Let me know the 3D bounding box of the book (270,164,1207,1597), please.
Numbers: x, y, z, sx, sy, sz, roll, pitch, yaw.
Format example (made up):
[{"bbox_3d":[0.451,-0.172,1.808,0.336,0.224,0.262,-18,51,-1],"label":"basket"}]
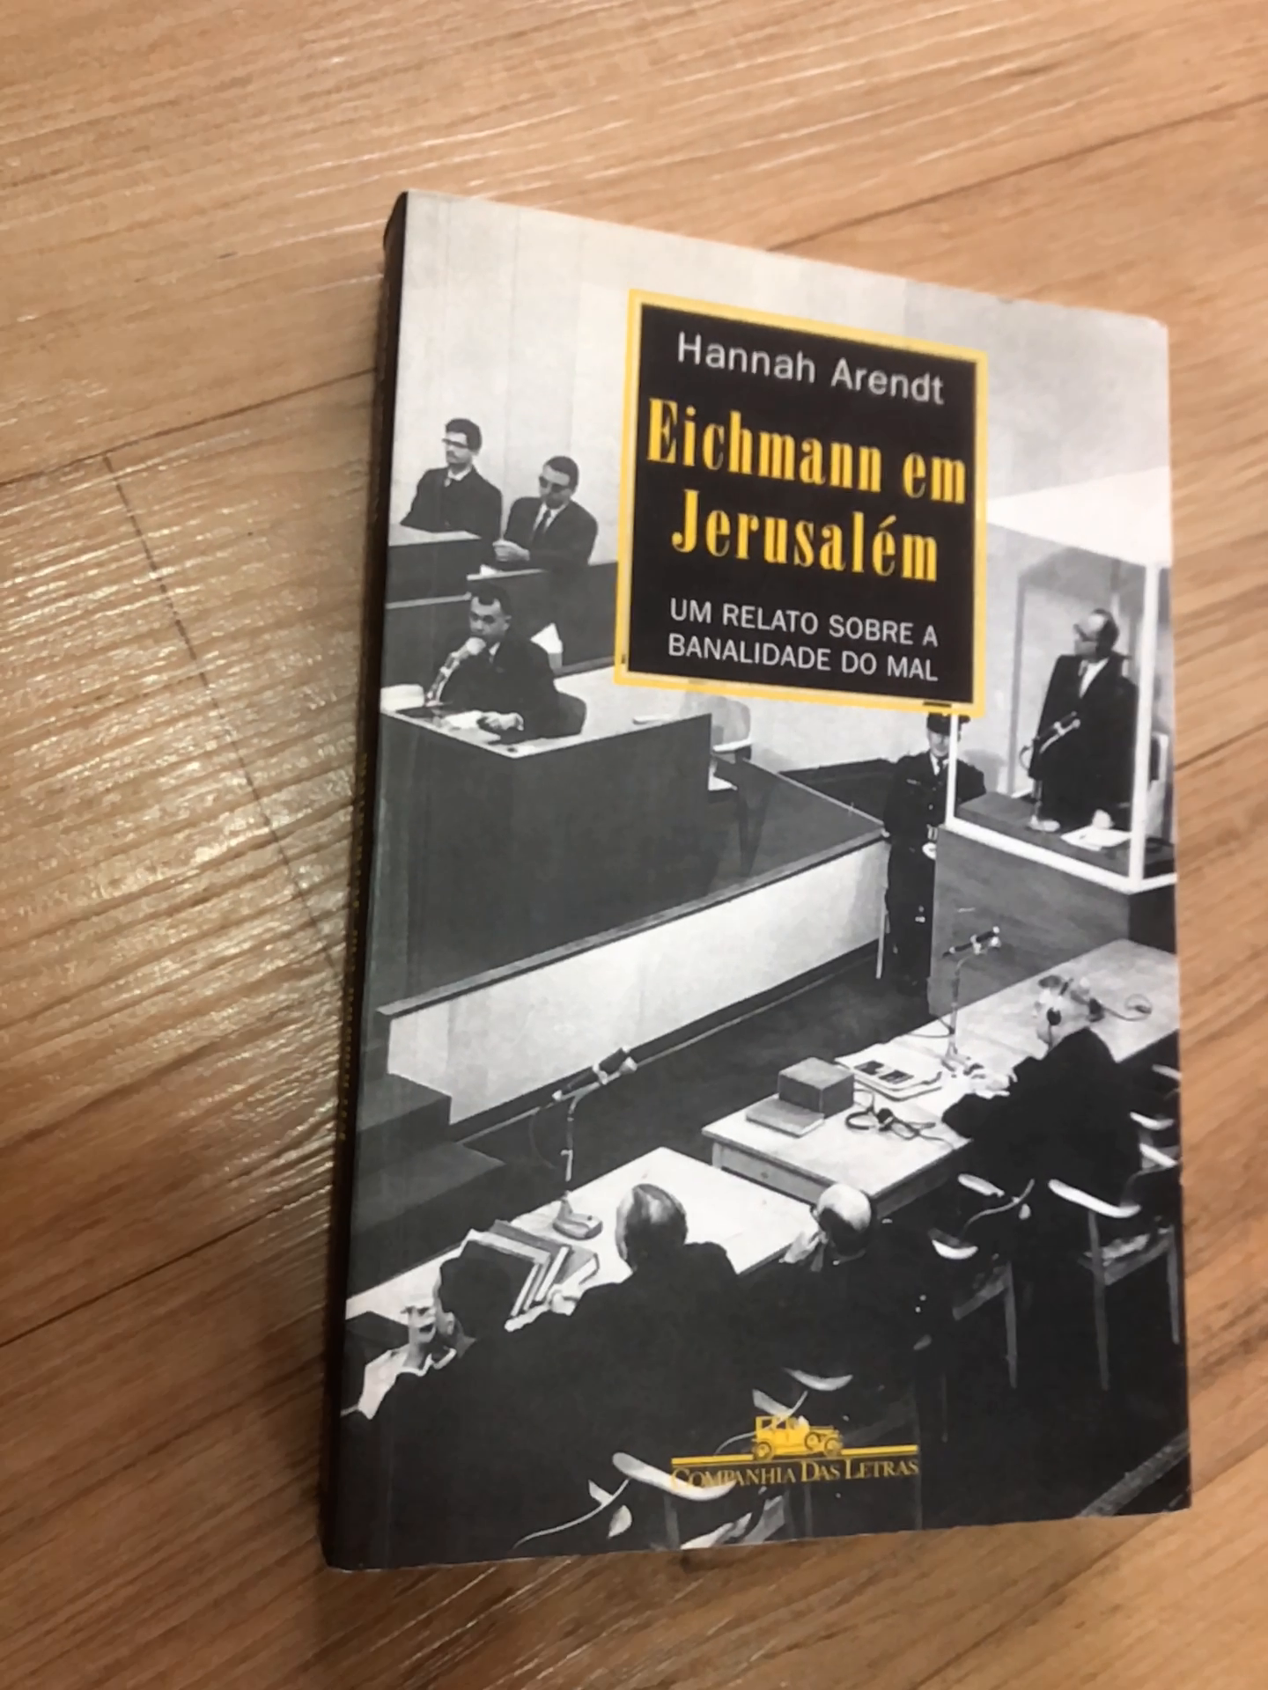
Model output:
[{"bbox_3d":[0.021,0.004,0.231,0.144,0.023,0.202,3,82,-16],"label":"book"}]
